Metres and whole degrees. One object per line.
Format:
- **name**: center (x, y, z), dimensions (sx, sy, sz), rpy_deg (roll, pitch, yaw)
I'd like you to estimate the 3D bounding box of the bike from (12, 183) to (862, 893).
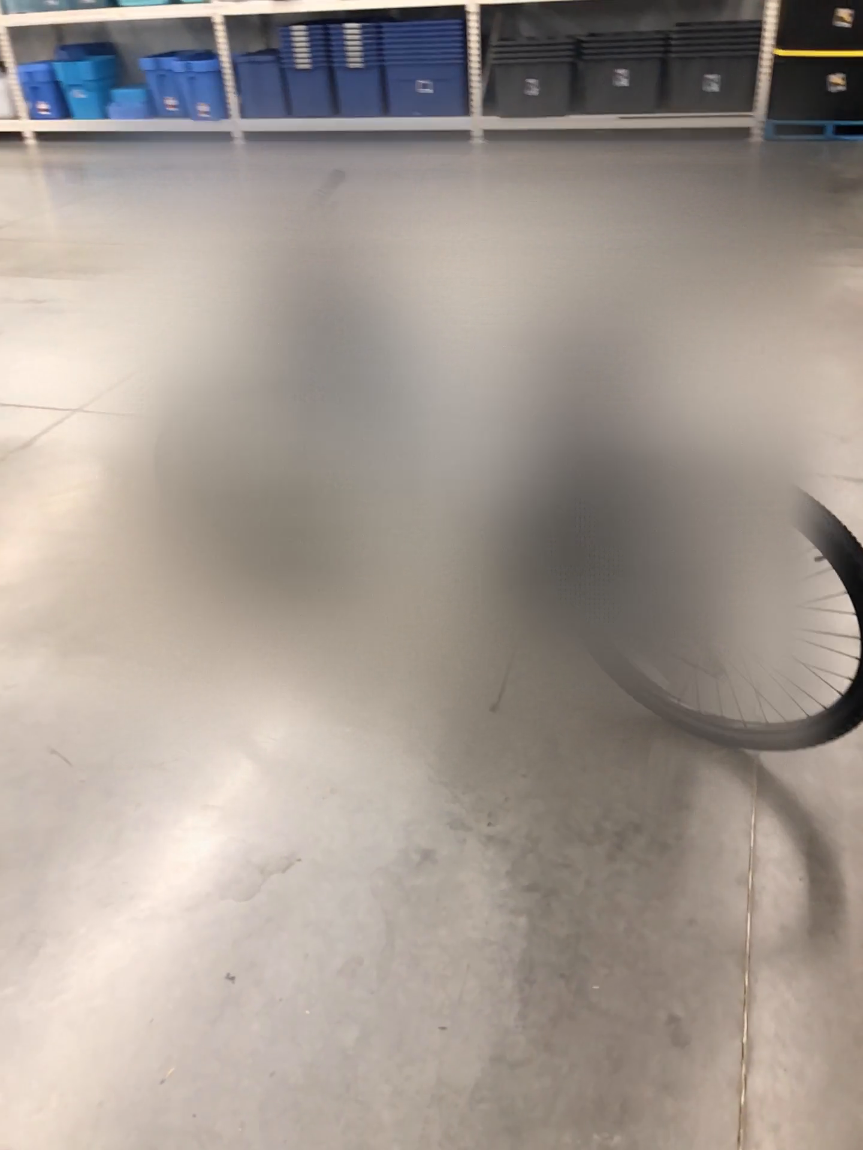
- **bike**: center (0.071, -0.194, 1.899), dimensions (1.636, 0.987, 0.574), rpy_deg (15, 37, 28)
